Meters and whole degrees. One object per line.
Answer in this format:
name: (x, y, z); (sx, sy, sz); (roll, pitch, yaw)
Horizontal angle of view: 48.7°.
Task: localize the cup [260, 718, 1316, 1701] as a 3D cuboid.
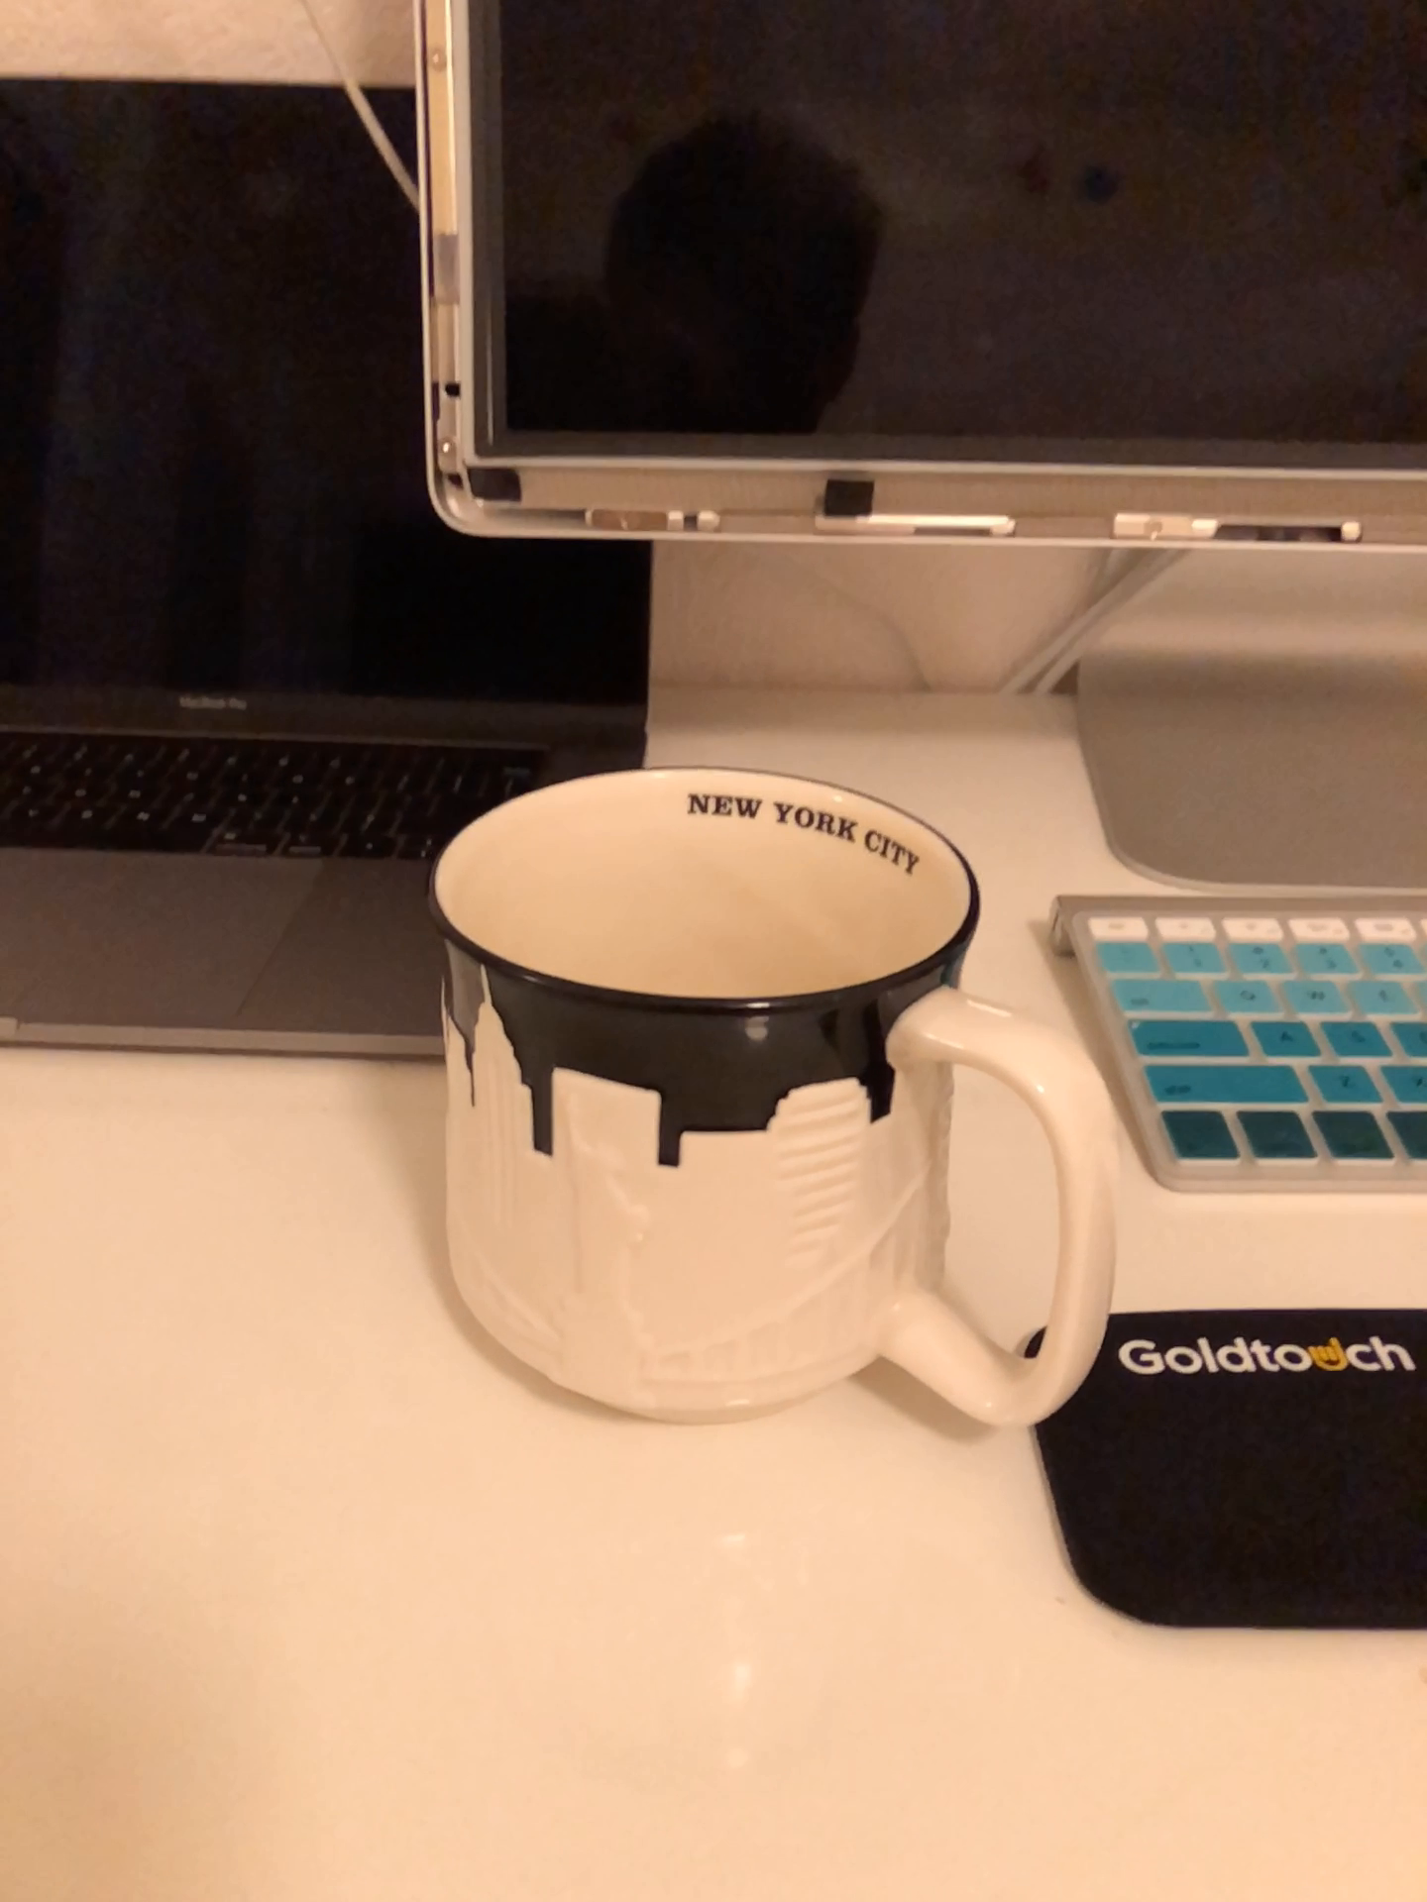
cup: (0.011, 0.031, 0.299); (0.150, 0.089, 0.110); (23, 35, 33)
